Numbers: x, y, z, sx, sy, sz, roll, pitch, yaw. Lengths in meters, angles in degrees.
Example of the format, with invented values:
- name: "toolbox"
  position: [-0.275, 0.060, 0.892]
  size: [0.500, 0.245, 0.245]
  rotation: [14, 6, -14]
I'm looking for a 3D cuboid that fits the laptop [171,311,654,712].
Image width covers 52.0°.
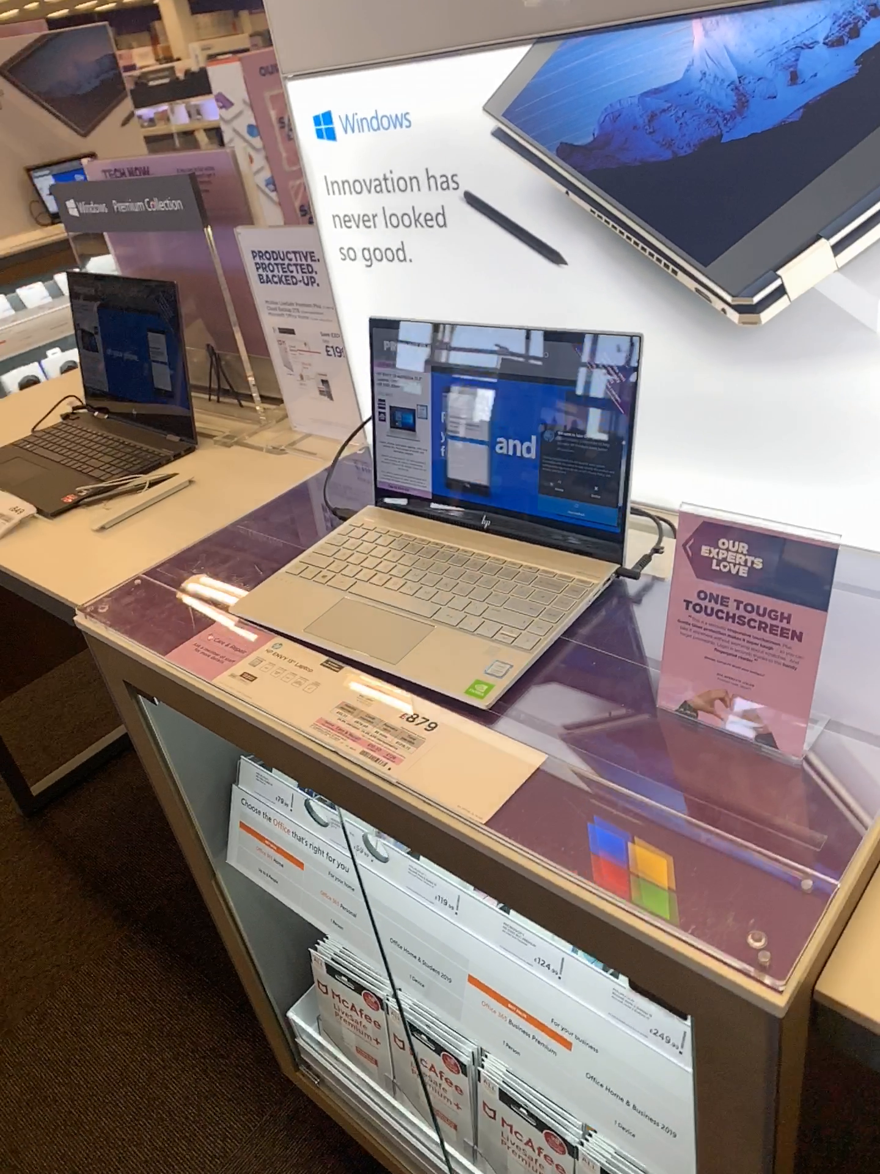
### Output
- name: "laptop"
  position: [-0.014, -0.092, 0.772]
  size: [0.296, 0.181, 0.262]
  rotation: [16, 42, 36]

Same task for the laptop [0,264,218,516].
- name: "laptop"
  position: [-0.602, -0.327, 1.429]
  size: [0.300, 0.236, 0.314]
  rotation: [19, 43, 35]
